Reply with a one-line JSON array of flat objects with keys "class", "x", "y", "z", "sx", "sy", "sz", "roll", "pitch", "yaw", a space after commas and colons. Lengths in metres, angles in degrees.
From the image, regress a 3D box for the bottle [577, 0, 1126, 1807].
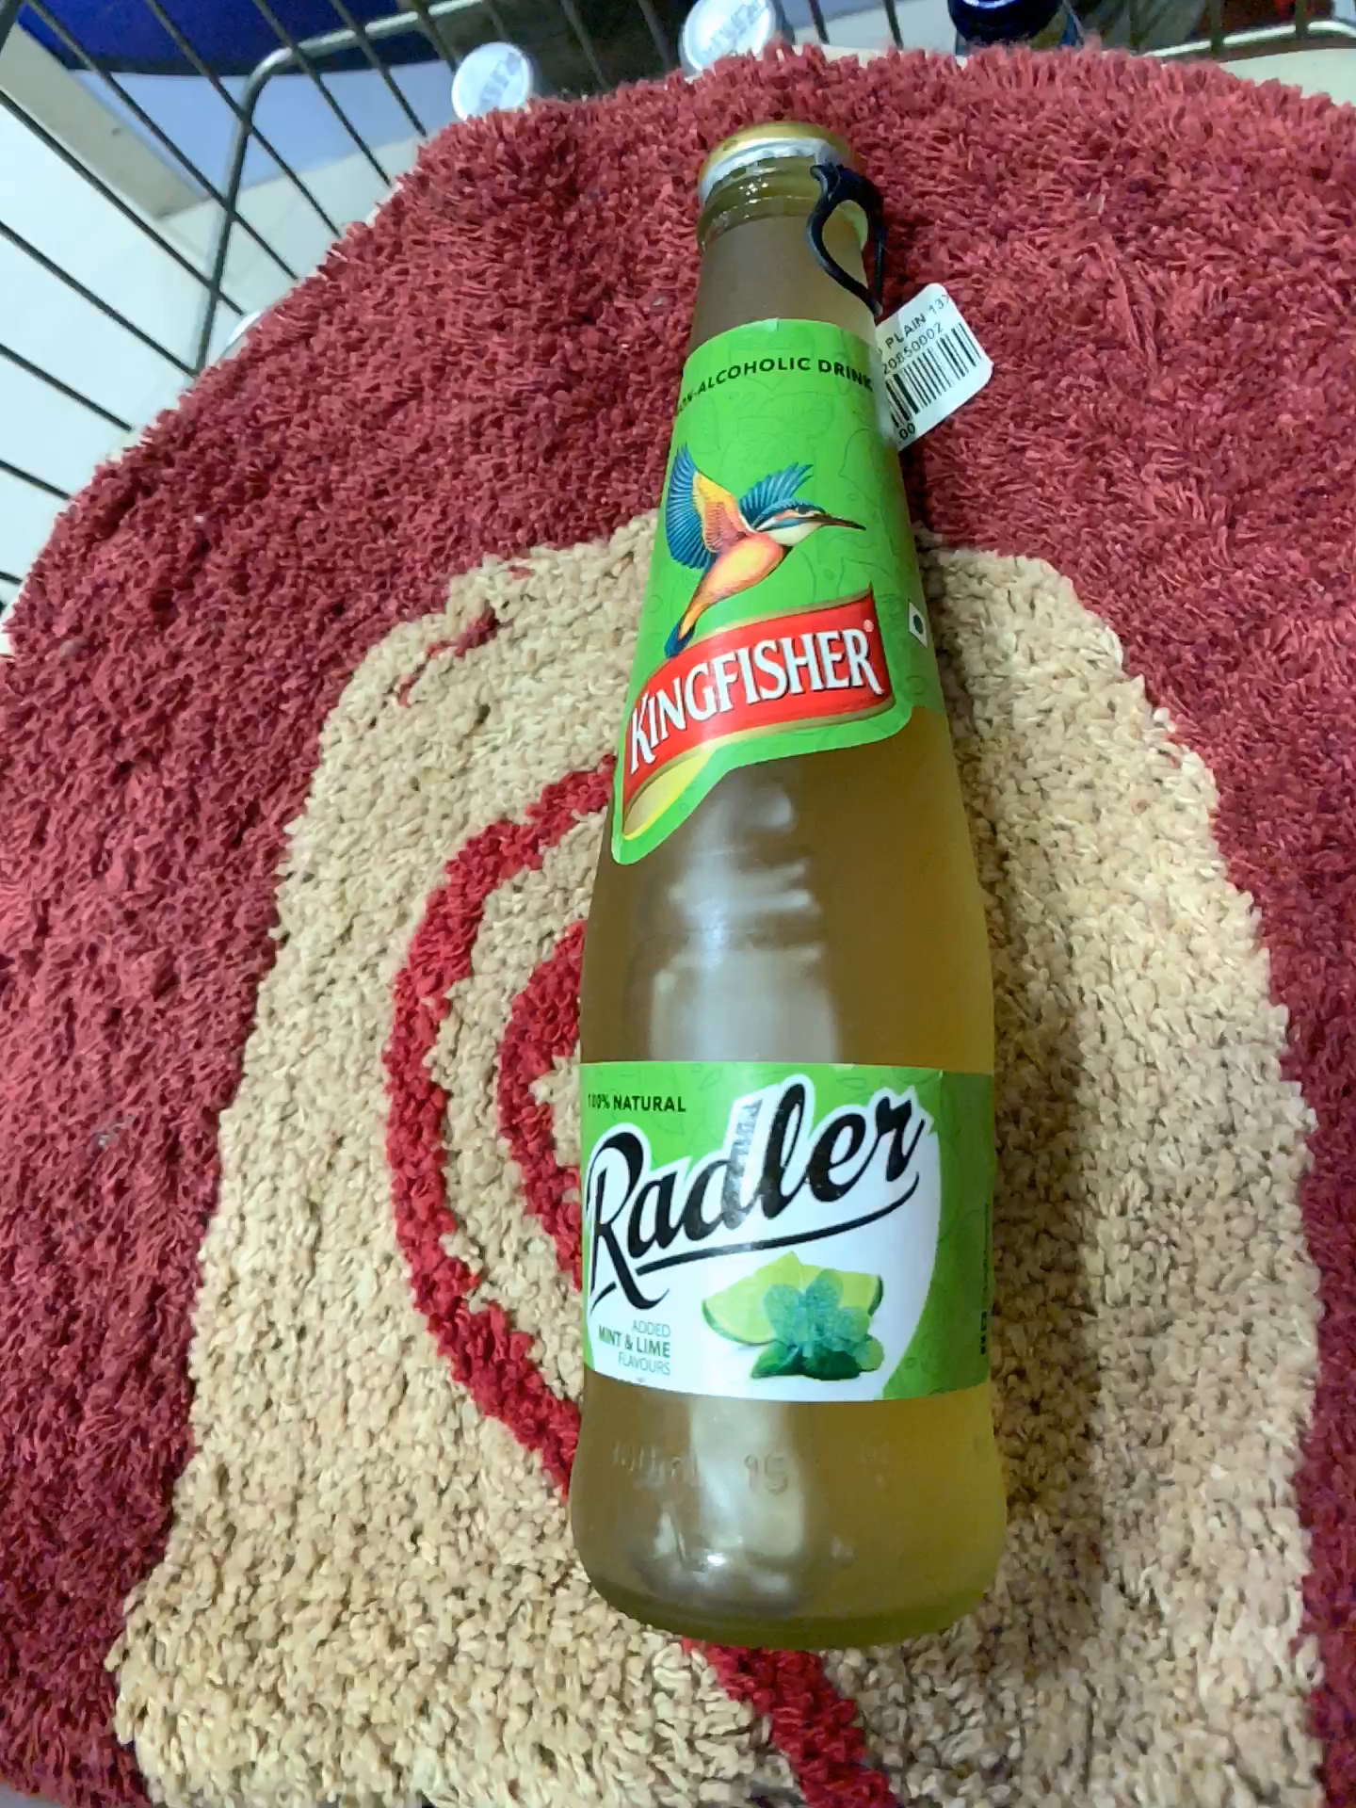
[{"class": "bottle", "x": 0.030, "y": -0.016, "z": 0.207, "sx": 0.060, "sy": 0.060, "sz": 0.240, "roll": -2, "pitch": 80, "yaw": 21}]
